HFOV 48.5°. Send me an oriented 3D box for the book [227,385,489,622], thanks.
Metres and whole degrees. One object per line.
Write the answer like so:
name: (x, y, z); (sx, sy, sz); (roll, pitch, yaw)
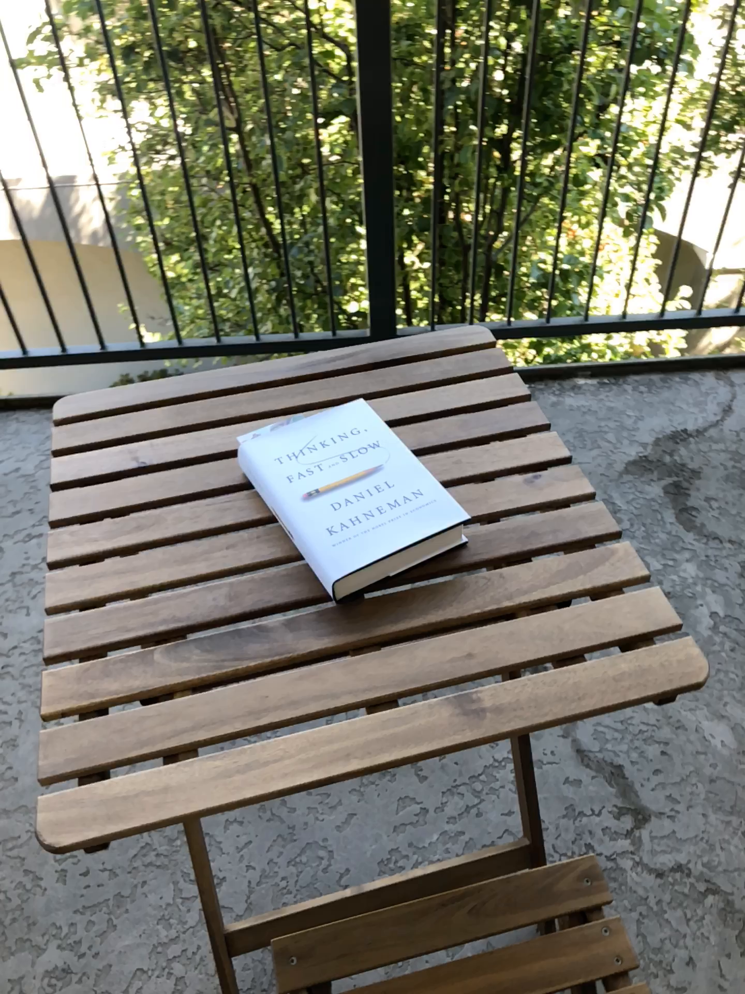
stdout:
book: (-0.021, -0.005, 0.885); (0.180, 0.060, 0.241); (-23, 48, -20)
